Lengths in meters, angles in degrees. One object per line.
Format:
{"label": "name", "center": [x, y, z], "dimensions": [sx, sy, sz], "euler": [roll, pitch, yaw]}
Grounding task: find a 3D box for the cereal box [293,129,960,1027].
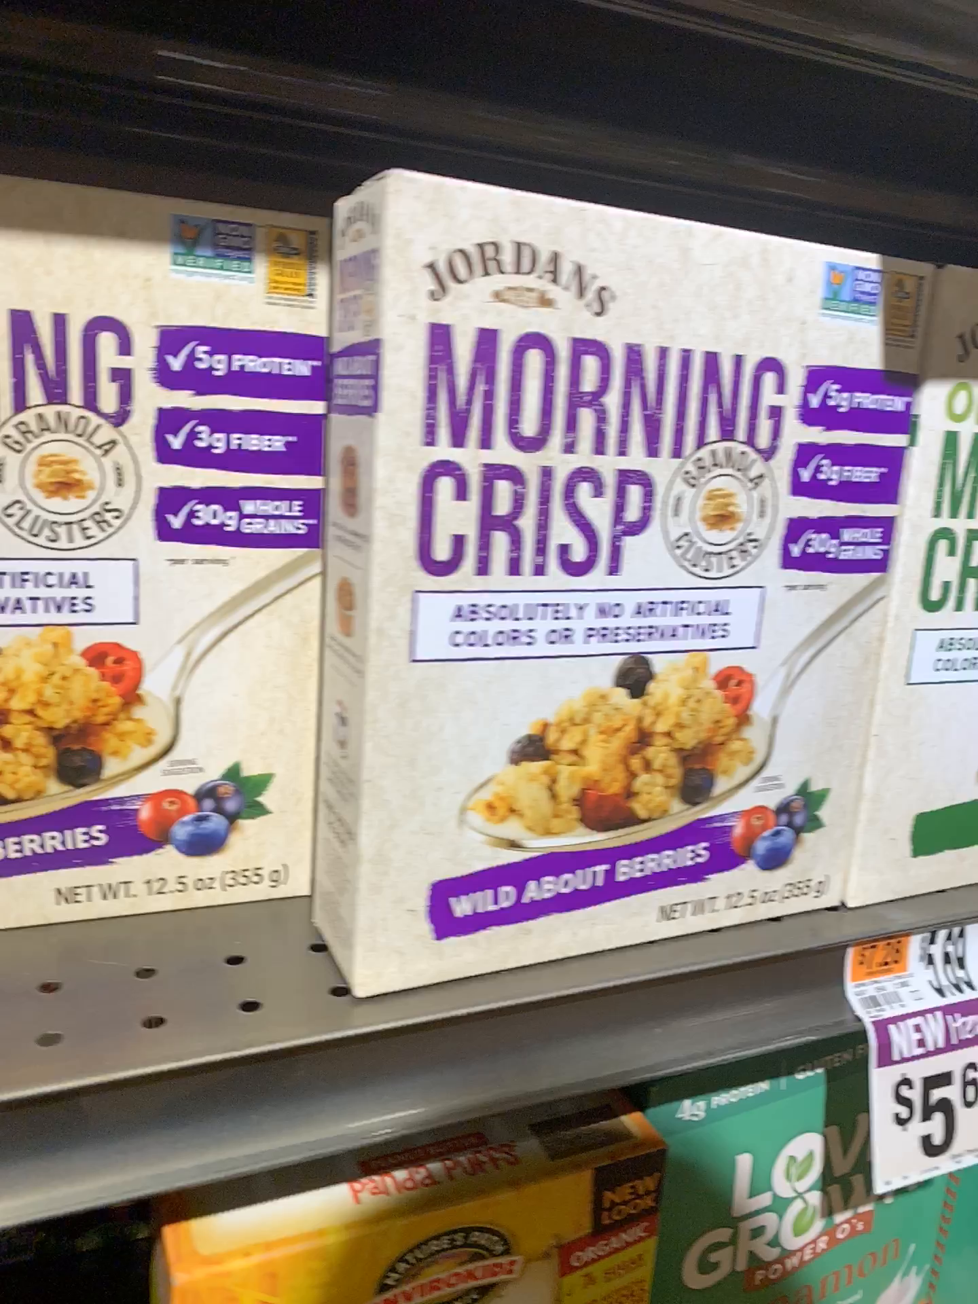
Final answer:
{"label": "cereal box", "center": [0.038, -0.018, 0.308], "dimensions": [0.180, 0.219, 0.060], "euler": [-3, 14, -25]}
